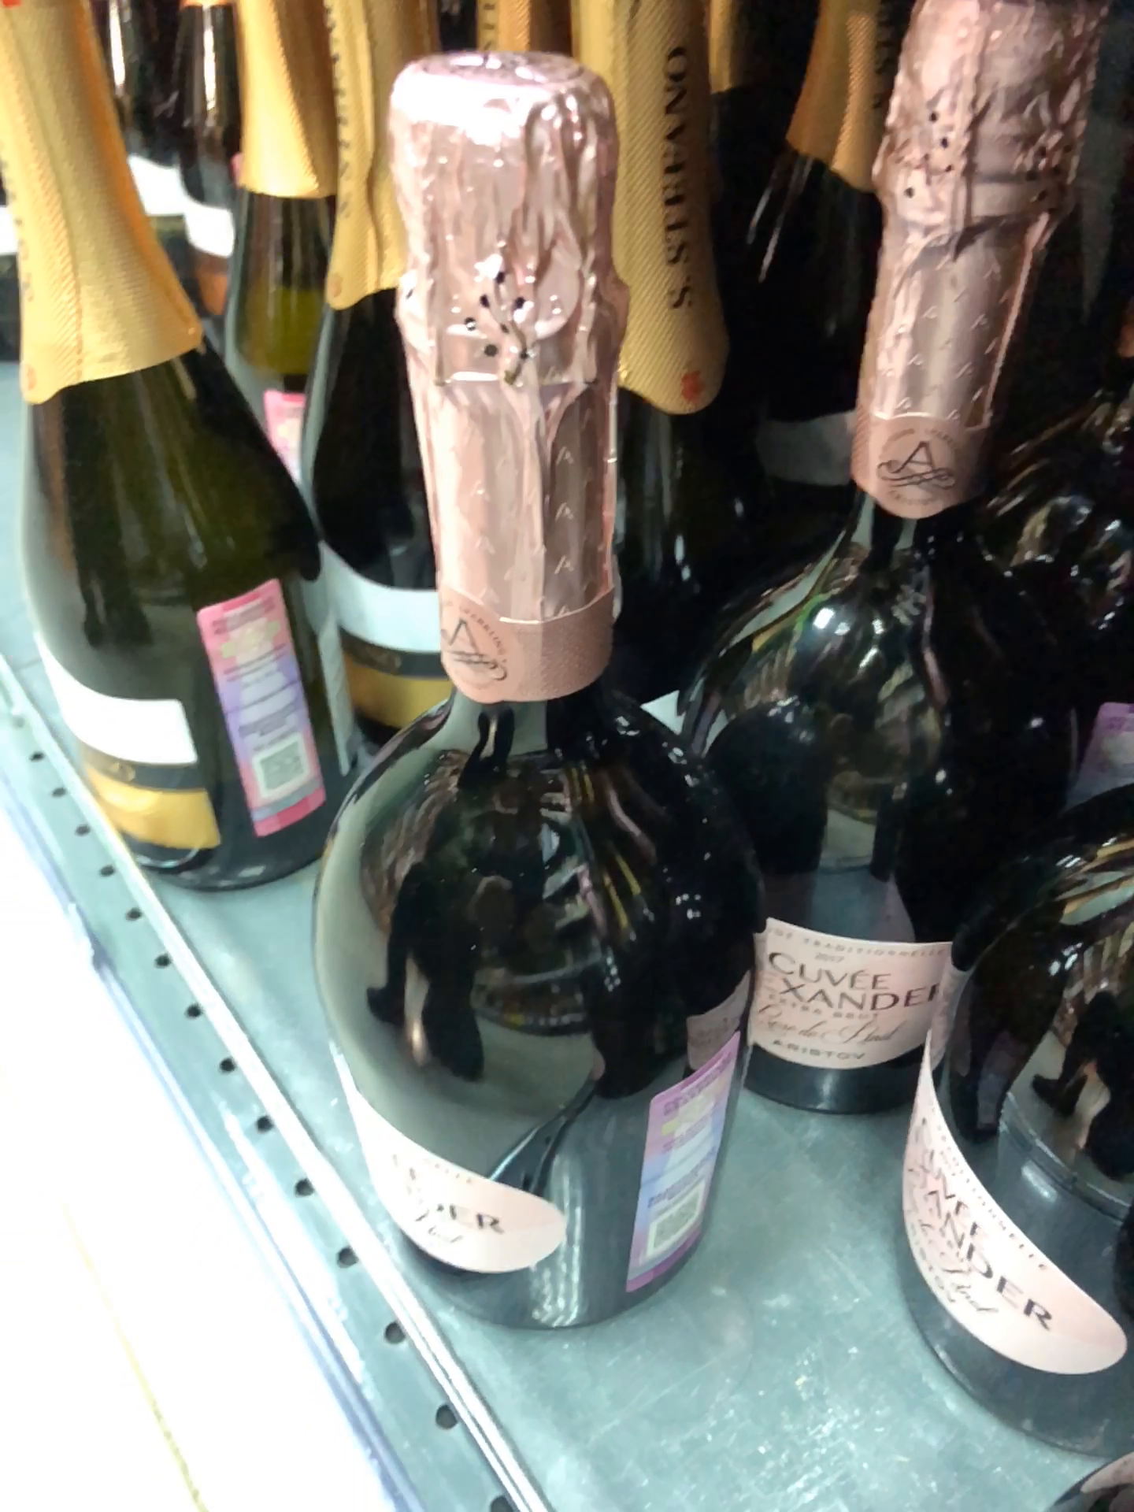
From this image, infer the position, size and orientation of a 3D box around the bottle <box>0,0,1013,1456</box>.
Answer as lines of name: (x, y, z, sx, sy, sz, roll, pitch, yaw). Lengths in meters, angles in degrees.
bottle: (-0.011, 0.014, 0.259, 0.090, 0.278, 0.110, -31, 49, -28)
